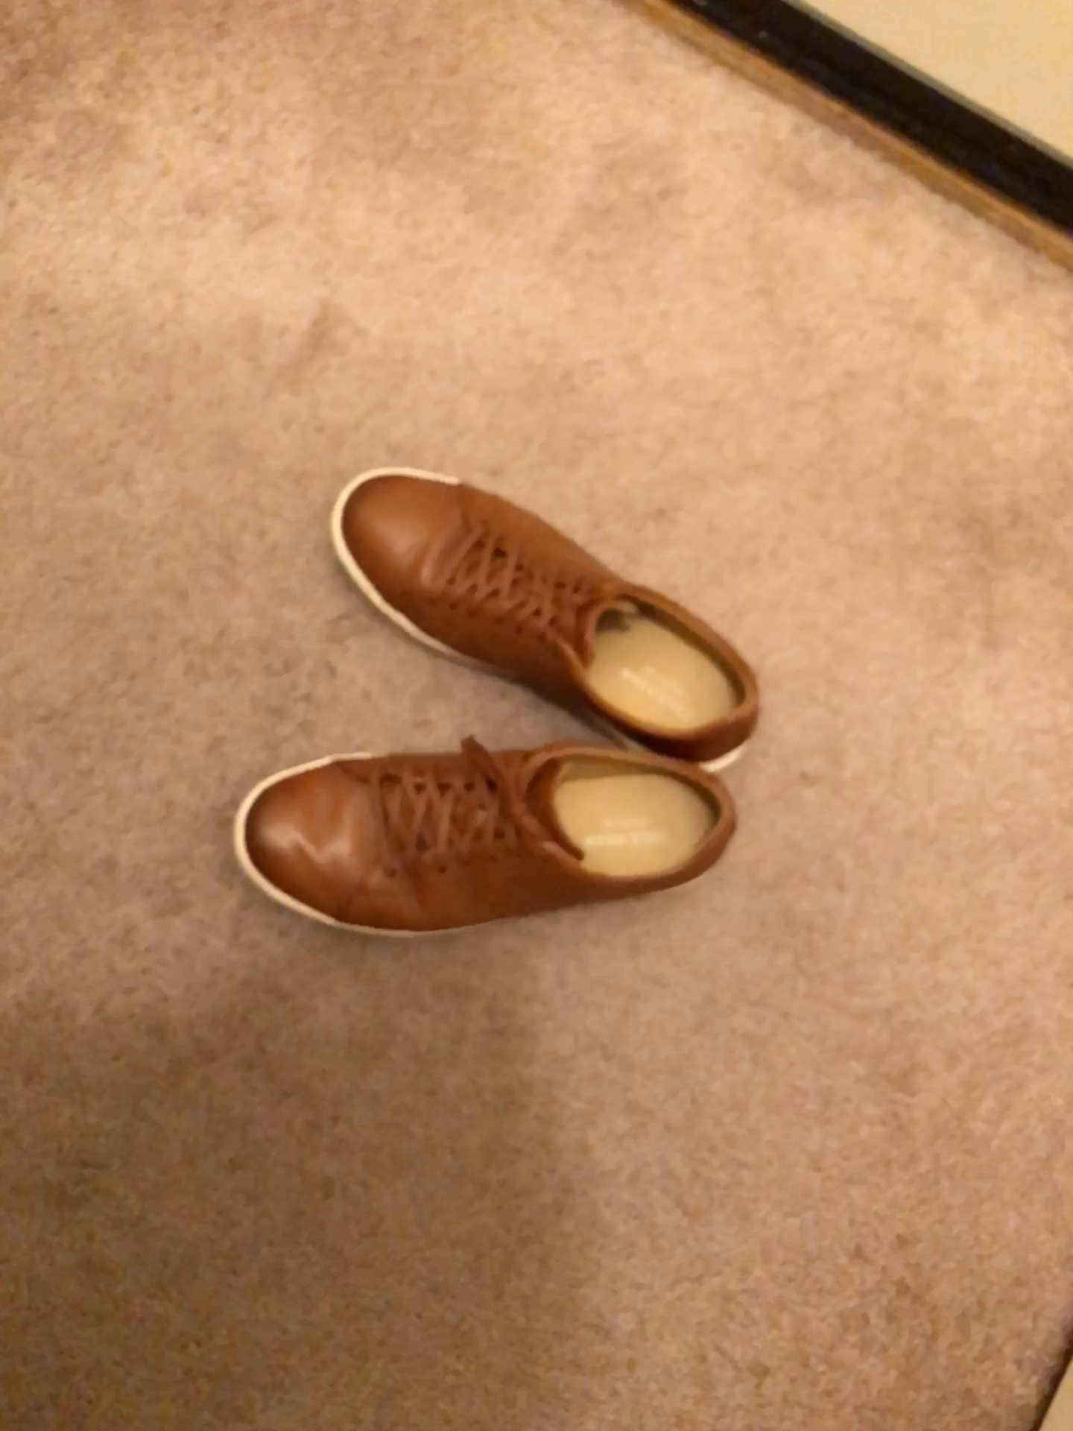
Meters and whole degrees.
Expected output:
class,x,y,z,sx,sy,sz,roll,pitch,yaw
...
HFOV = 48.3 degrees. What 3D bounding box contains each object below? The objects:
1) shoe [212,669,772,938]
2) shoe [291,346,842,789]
class,x,y,z,sx,sy,sz,roll,pitch,yaw
shoe,-0.027,0.051,0.675,0.285,0.100,0.117,-4,77,-7
shoe,0.014,-0.082,0.711,0.285,0.103,0.117,27,76,0
